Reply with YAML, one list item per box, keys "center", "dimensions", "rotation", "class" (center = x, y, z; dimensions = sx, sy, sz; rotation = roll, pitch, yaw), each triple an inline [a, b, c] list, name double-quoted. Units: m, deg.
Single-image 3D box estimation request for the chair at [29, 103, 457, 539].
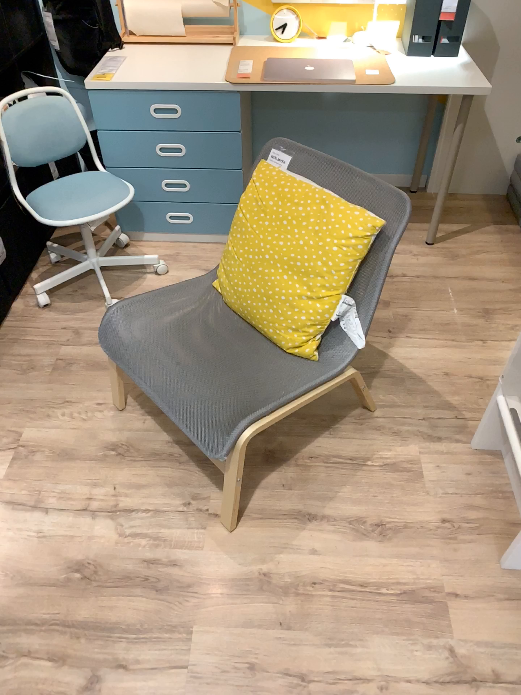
- center: [-0.041, -0.109, 1.377]
  dimensions: [0.671, 0.707, 0.632]
  rotation: [-32, 51, -30]
  class: "chair"
